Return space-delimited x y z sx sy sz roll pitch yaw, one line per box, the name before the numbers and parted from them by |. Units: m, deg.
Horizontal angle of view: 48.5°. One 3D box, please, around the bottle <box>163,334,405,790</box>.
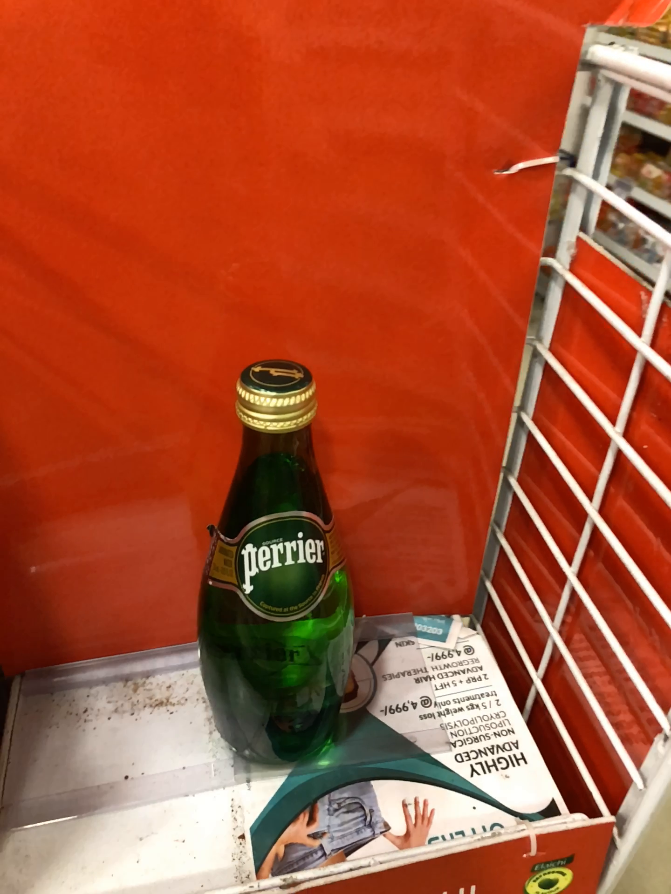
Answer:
bottle | -0.023 0.052 0.296 0.070 0.179 0.060 -6 36 -12
